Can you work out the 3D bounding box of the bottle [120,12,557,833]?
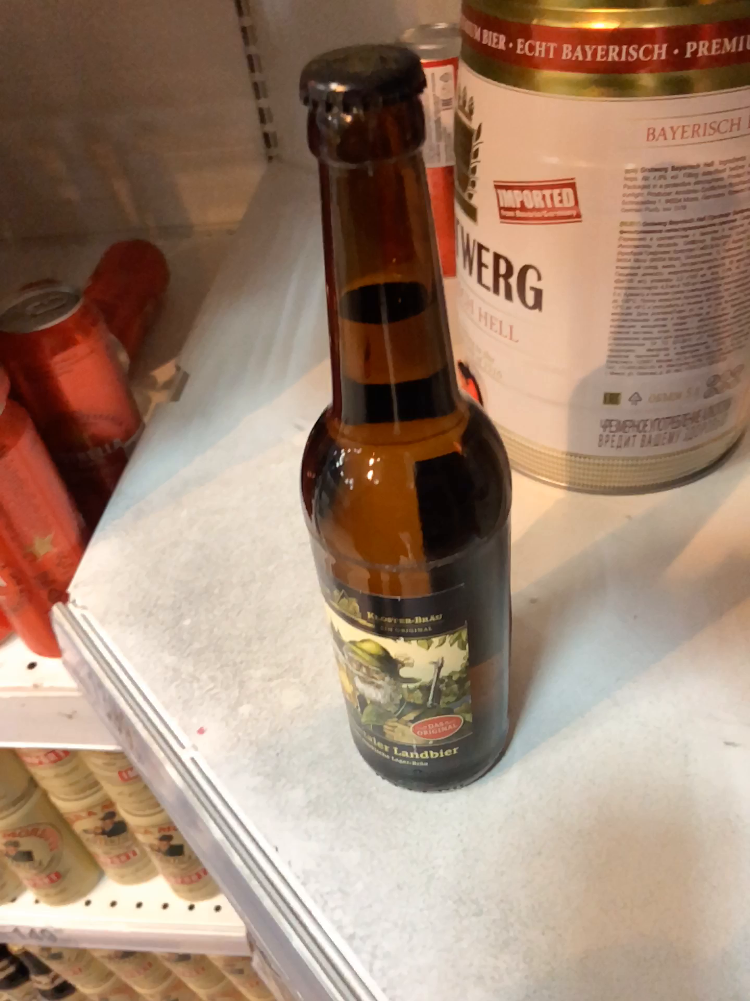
[{"bbox_3d":[0.006,0.001,0.265,0.064,0.257,0.071,-35,48,-25],"label":"bottle"}]
